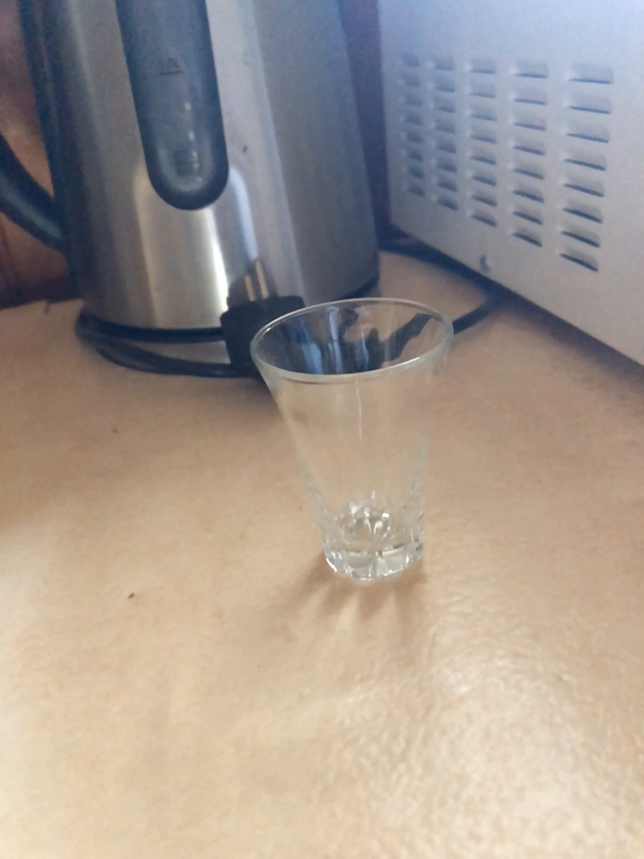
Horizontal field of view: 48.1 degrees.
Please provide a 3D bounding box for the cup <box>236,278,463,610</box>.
[{"bbox_3d":[0.008,0.003,0.198,0.050,0.070,0.050,-5,29,3],"label":"cup"}]
